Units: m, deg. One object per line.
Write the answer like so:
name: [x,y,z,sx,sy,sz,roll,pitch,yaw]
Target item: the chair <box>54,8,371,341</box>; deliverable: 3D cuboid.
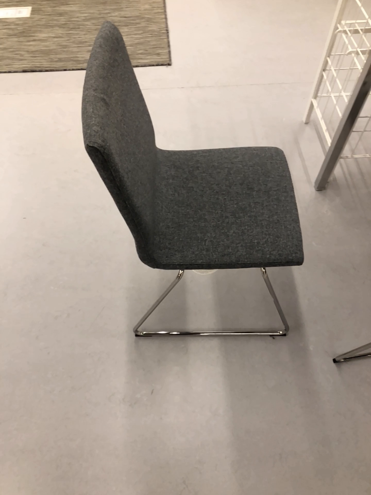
chair: [0.076,-0.120,1.168,0.590,0.836,0.512,-1,58,0]
